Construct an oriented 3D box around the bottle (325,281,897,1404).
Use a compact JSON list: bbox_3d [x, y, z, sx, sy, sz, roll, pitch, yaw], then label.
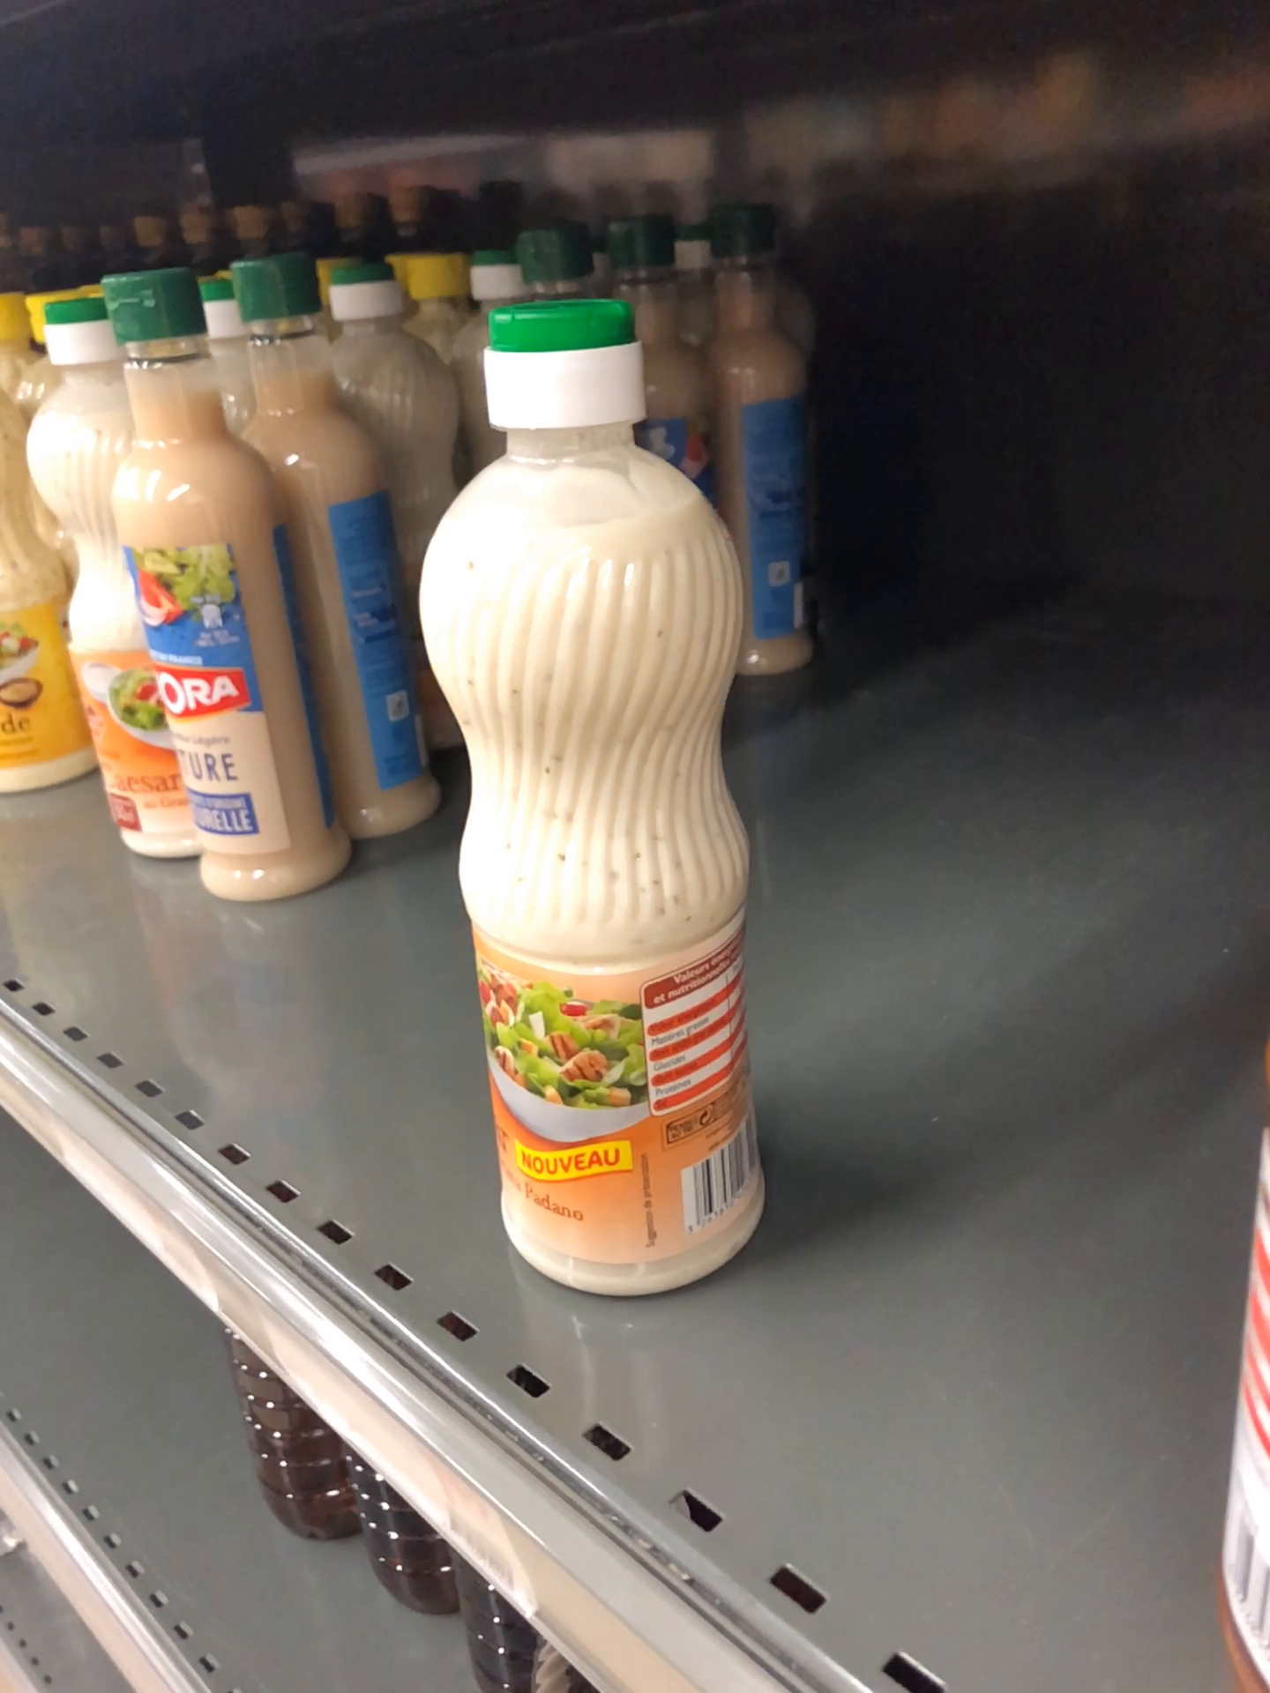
[{"bbox_3d":[0.003,-0.003,0.323,0.080,0.229,0.080,-4,23,2],"label":"bottle"}]
